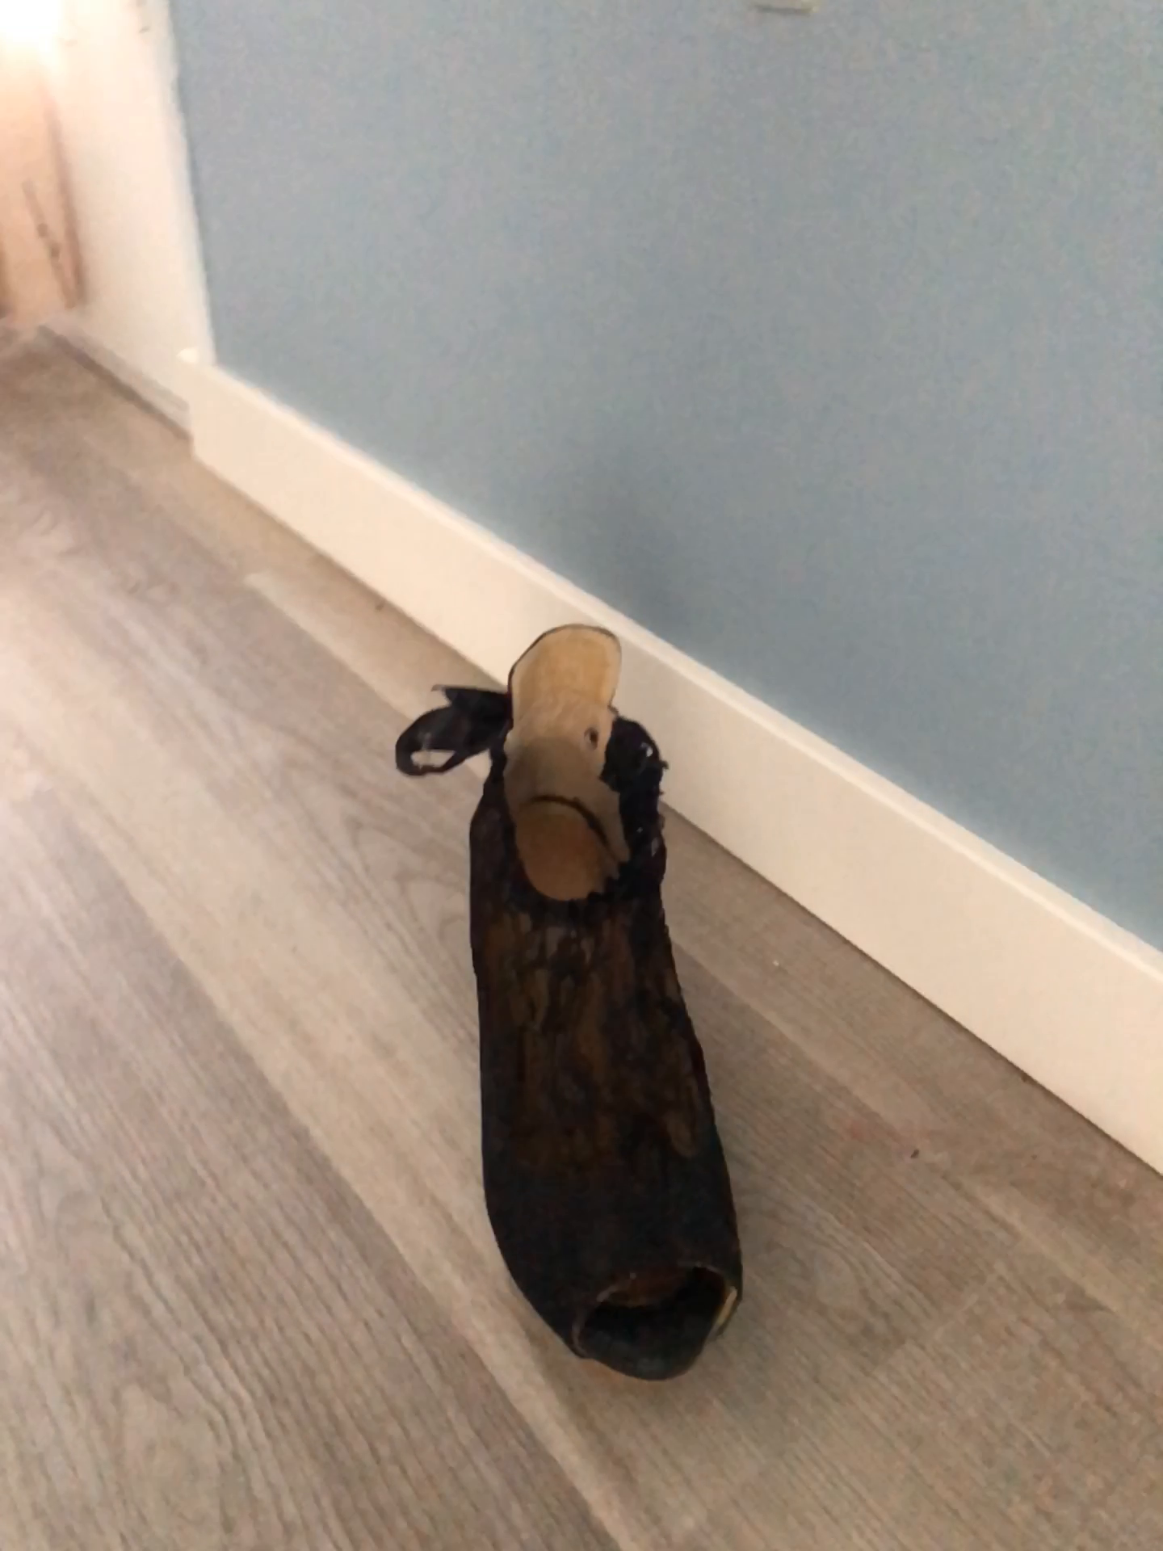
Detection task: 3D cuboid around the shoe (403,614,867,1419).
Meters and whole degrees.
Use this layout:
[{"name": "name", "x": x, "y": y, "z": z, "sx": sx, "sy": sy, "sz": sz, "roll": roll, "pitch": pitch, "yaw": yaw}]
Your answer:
[{"name": "shoe", "x": 0.000, "y": 0.064, "z": 0.429, "sx": 0.100, "sy": 0.140, "sz": 0.221, "roll": -5, "pitch": 36, "yaw": -8}]
